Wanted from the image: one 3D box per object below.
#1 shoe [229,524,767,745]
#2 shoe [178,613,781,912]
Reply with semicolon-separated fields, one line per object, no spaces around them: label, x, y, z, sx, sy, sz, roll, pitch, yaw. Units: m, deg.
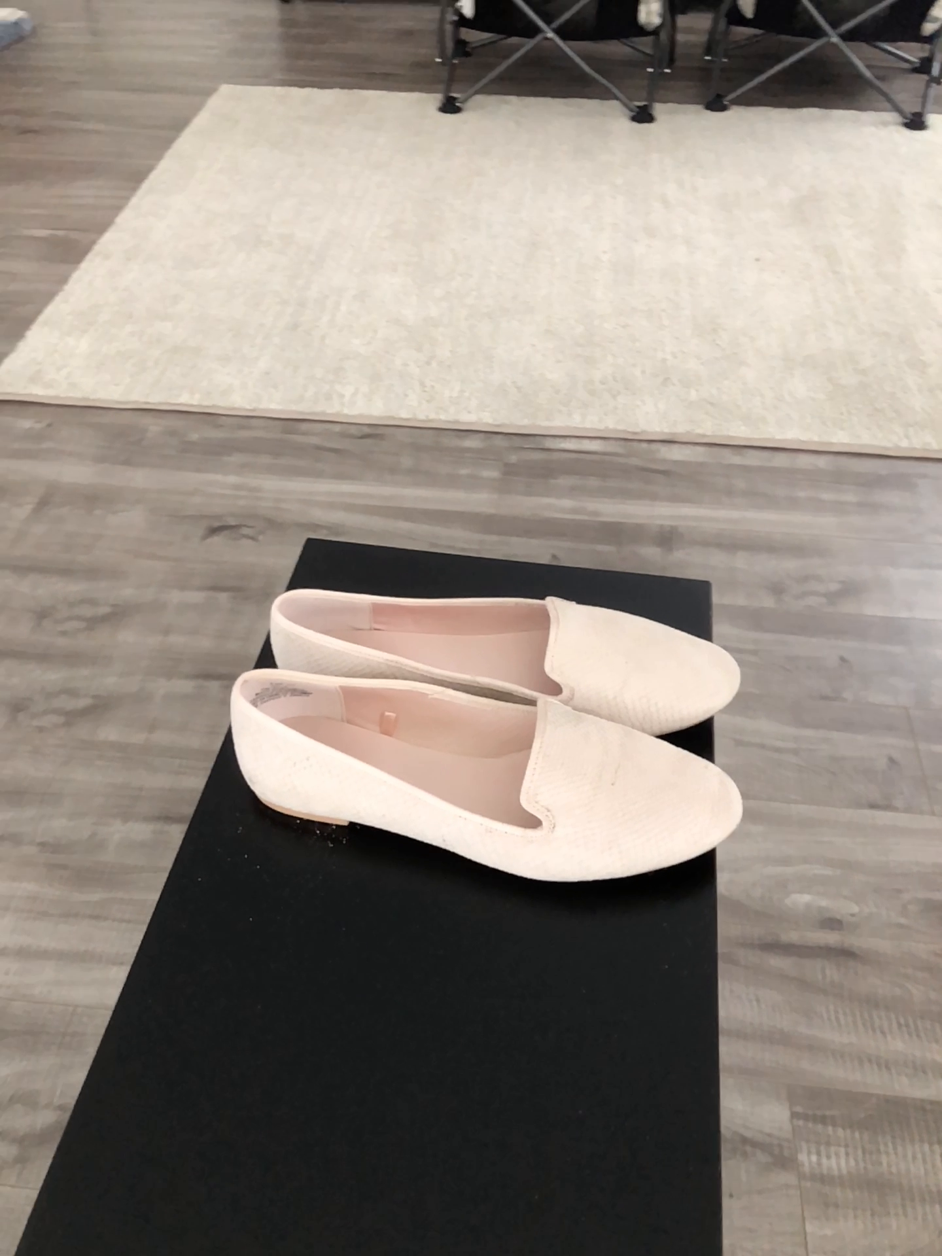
shoe;0.014;0.002;0.550;0.259;0.070;0.080;2;45;3
shoe;0.006;0.061;0.496;0.259;0.070;0.090;6;45;6
